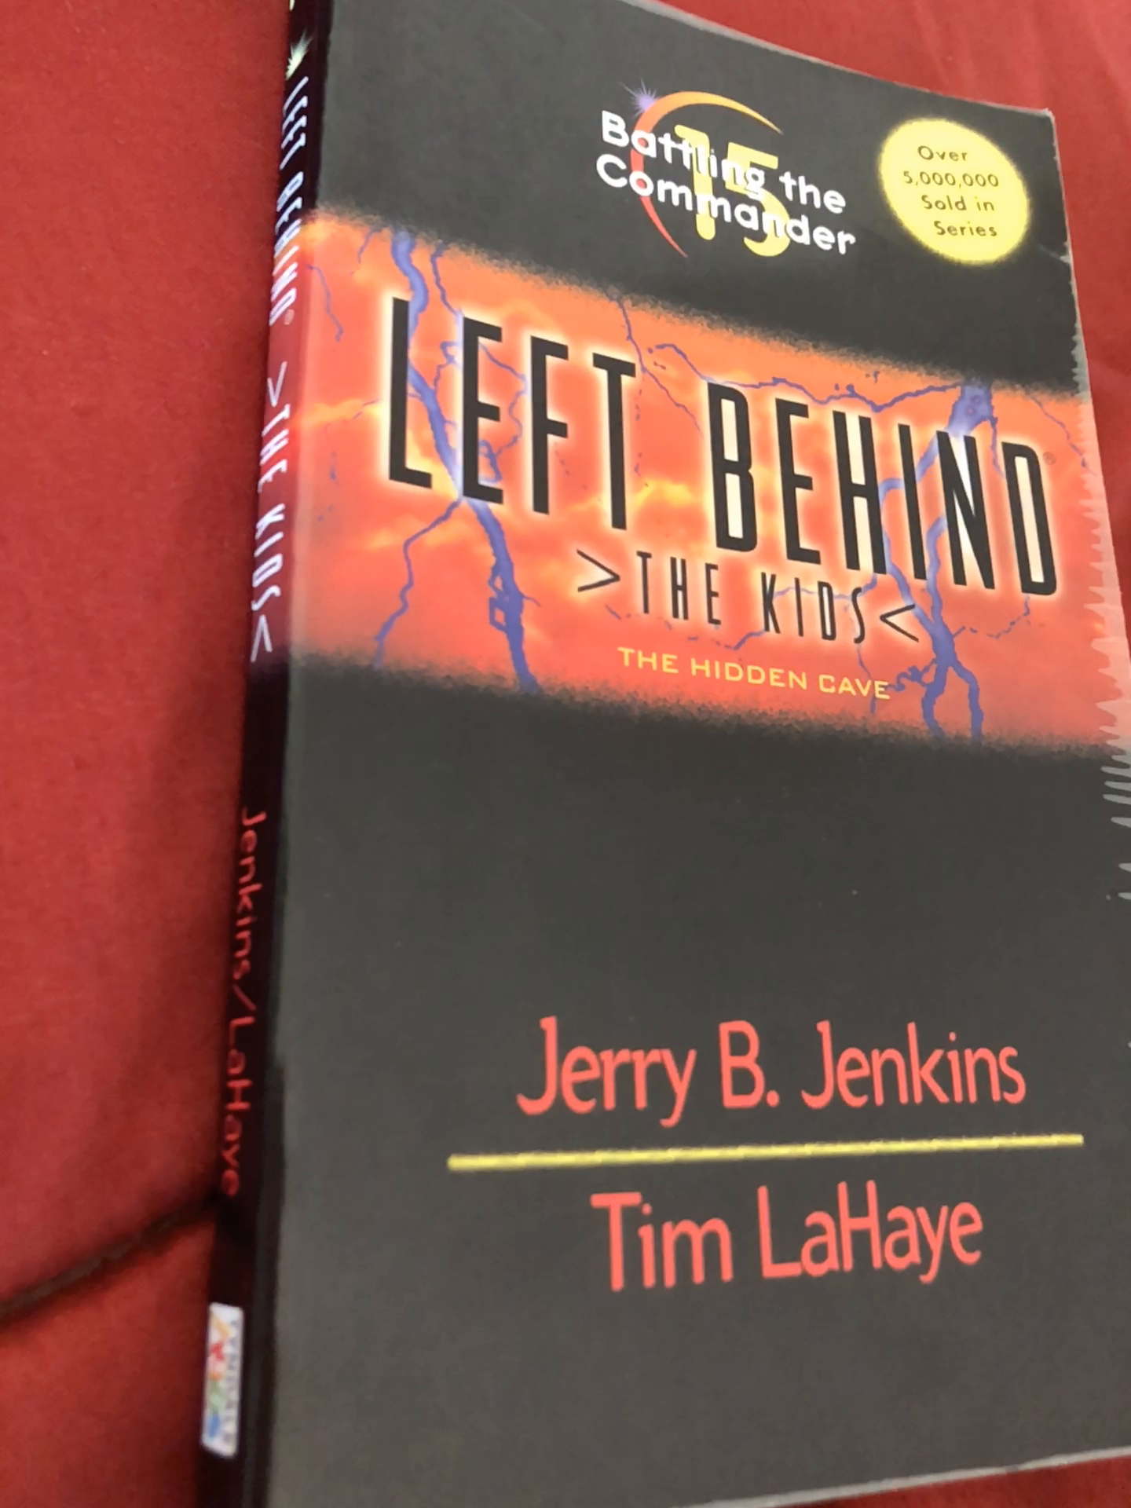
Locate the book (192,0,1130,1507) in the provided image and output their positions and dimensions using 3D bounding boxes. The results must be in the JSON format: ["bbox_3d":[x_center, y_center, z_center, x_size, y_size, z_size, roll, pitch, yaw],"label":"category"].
[{"bbox_3d":[0.022,-0.010,0.145,0.111,0.026,0.170,8,71,-26],"label":"book"}]
